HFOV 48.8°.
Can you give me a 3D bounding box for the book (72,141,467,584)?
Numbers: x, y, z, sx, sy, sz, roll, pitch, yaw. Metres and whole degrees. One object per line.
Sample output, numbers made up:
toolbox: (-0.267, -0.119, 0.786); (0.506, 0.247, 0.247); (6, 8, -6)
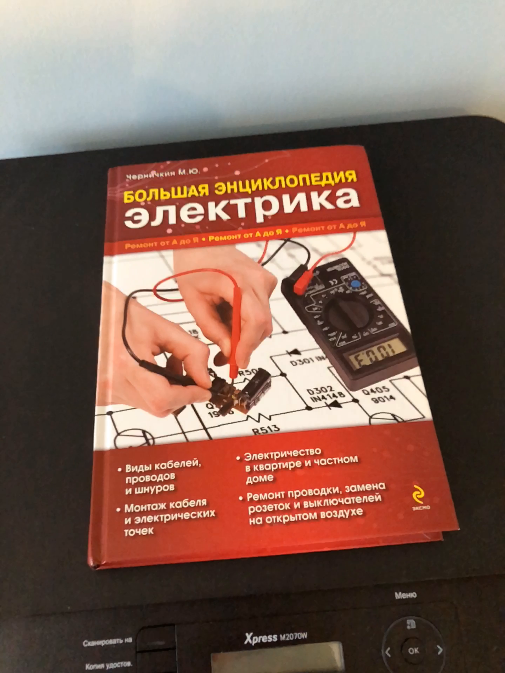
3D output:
book: (-0.001, -0.001, 0.313); (0.170, 0.040, 0.241); (-5, 62, 0)
